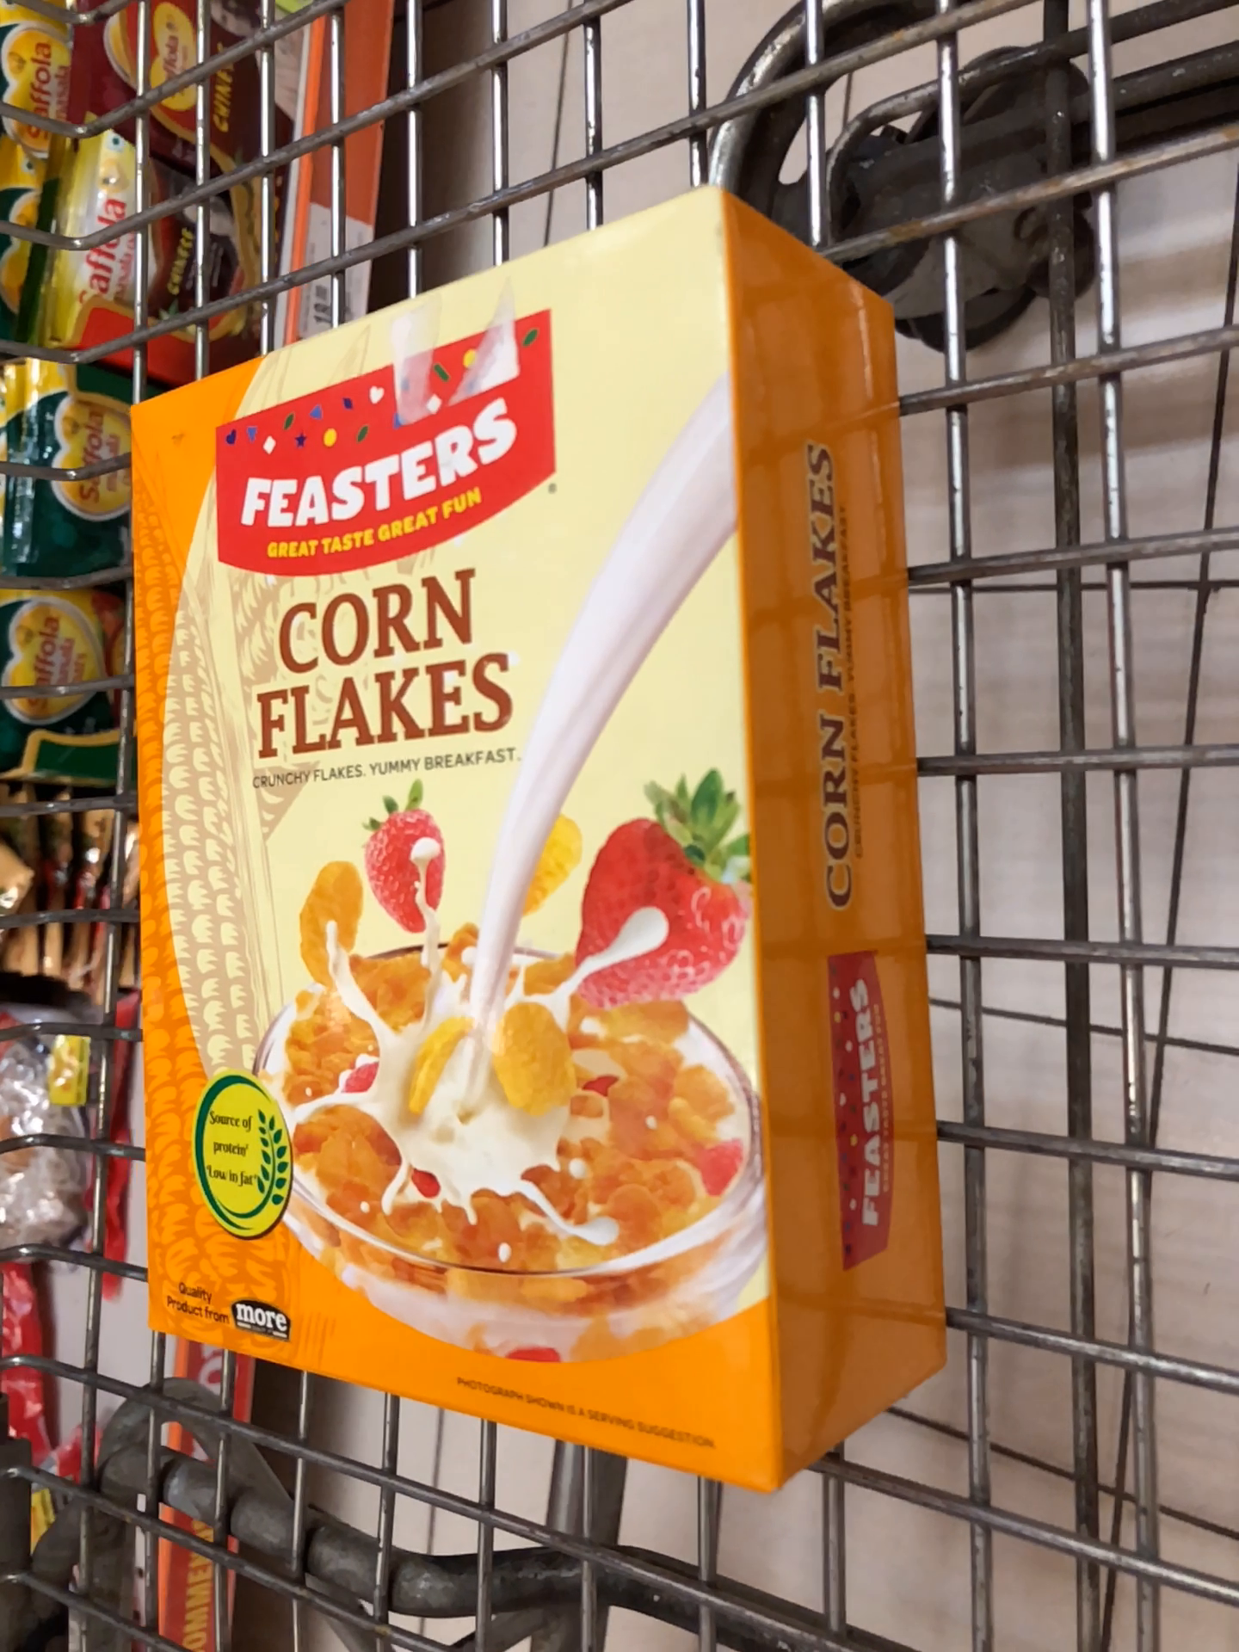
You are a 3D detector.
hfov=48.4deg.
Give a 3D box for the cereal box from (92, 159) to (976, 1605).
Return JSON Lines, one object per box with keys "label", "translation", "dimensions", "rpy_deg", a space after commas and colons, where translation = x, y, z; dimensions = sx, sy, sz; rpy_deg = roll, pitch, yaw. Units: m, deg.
{"label": "cereal box", "translation": [-0.021, 0.008, 0.237], "dimensions": [0.141, 0.060, 0.180], "rpy_deg": [-3, 89, 37]}
